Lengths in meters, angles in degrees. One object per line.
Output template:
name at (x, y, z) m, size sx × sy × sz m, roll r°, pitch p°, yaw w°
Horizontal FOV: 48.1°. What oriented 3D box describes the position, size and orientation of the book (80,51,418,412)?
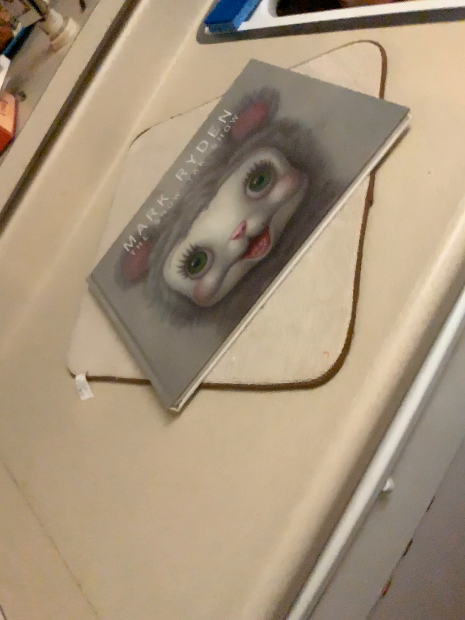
book at (-0.019, -0.118, 0.613) m, size 0.380 × 0.020 × 0.290 m, roll -51°, pitch 44°, yaw 7°
